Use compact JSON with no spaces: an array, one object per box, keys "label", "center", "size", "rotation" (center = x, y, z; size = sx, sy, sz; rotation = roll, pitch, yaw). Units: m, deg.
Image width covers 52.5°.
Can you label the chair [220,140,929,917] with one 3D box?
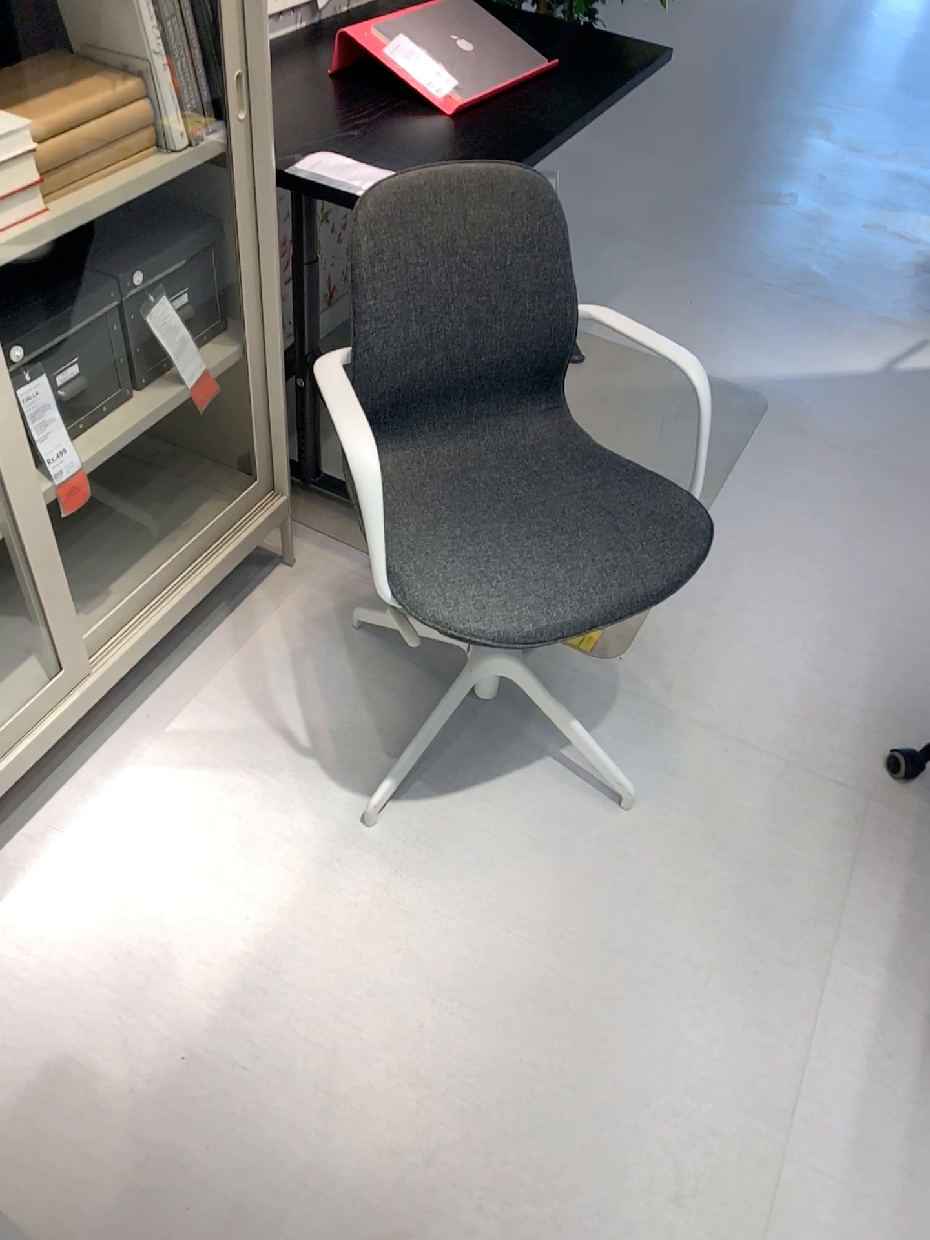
[{"label":"chair","center":[0.074,-0.142,1.438],"size":[0.621,0.837,0.641],"rotation":[-19,52,-24]}]
